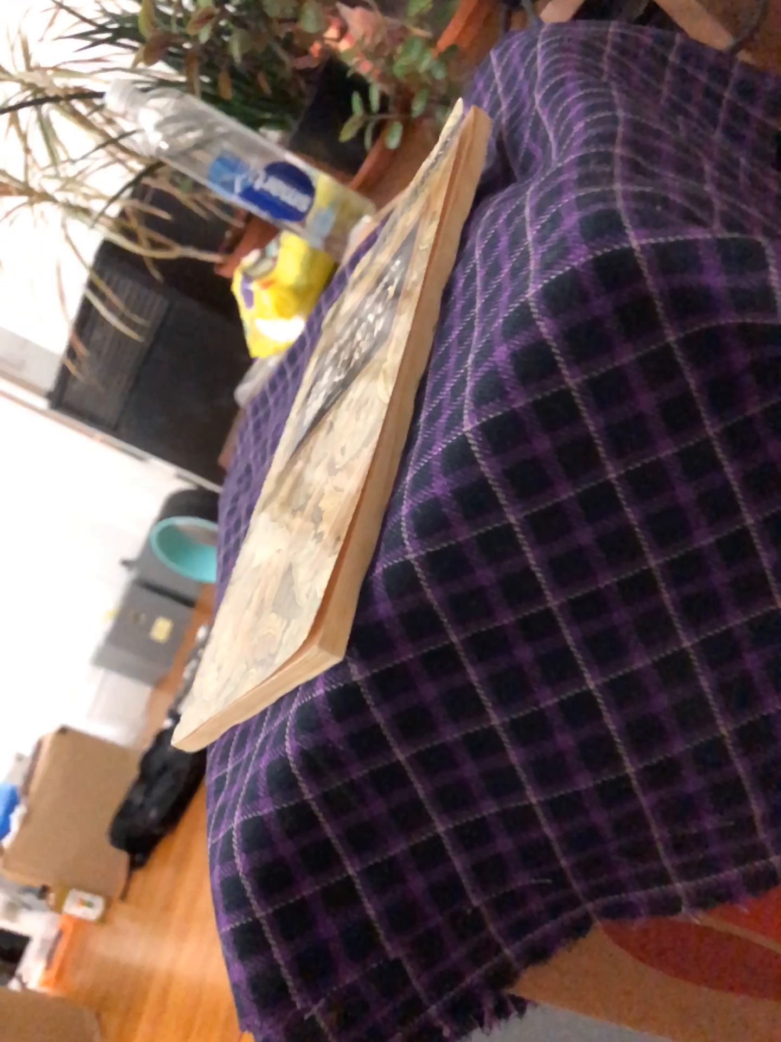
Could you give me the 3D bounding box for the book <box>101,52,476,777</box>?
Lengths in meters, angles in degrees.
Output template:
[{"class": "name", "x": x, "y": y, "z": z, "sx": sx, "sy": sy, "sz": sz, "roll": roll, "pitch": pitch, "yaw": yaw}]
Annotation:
[{"class": "book", "x": -0.033, "y": -0.035, "z": 0.288, "sx": 0.140, "sy": 0.010, "sz": 0.220, "roll": -39, "pitch": 30, "yaw": 53}]
